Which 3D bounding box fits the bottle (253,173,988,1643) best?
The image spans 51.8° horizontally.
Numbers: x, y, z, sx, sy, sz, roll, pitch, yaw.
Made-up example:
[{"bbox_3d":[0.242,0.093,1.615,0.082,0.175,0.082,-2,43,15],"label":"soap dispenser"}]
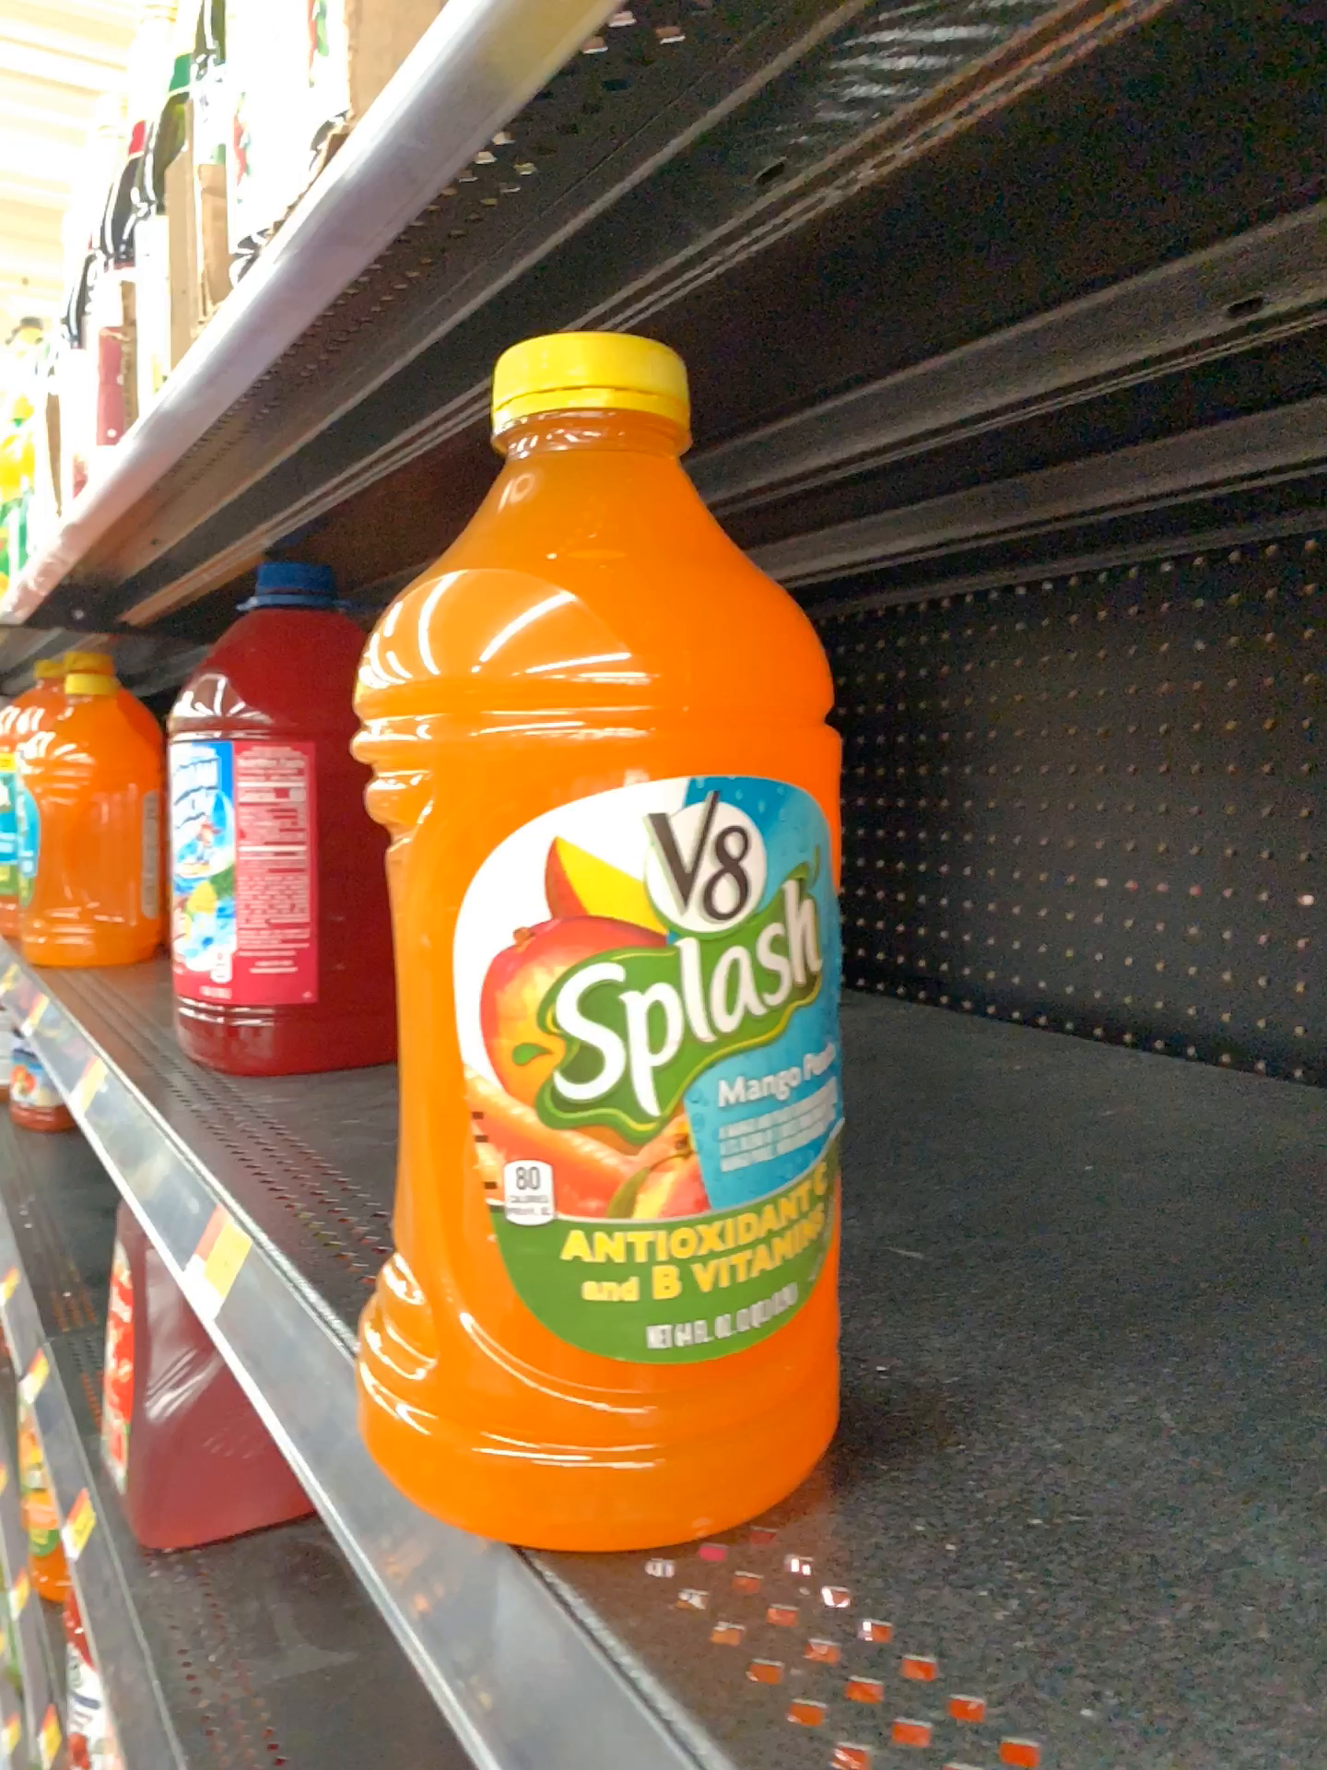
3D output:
[{"bbox_3d":[-0.016,0.002,0.326,0.128,0.260,0.125,0,4,0],"label":"bottle"}]
